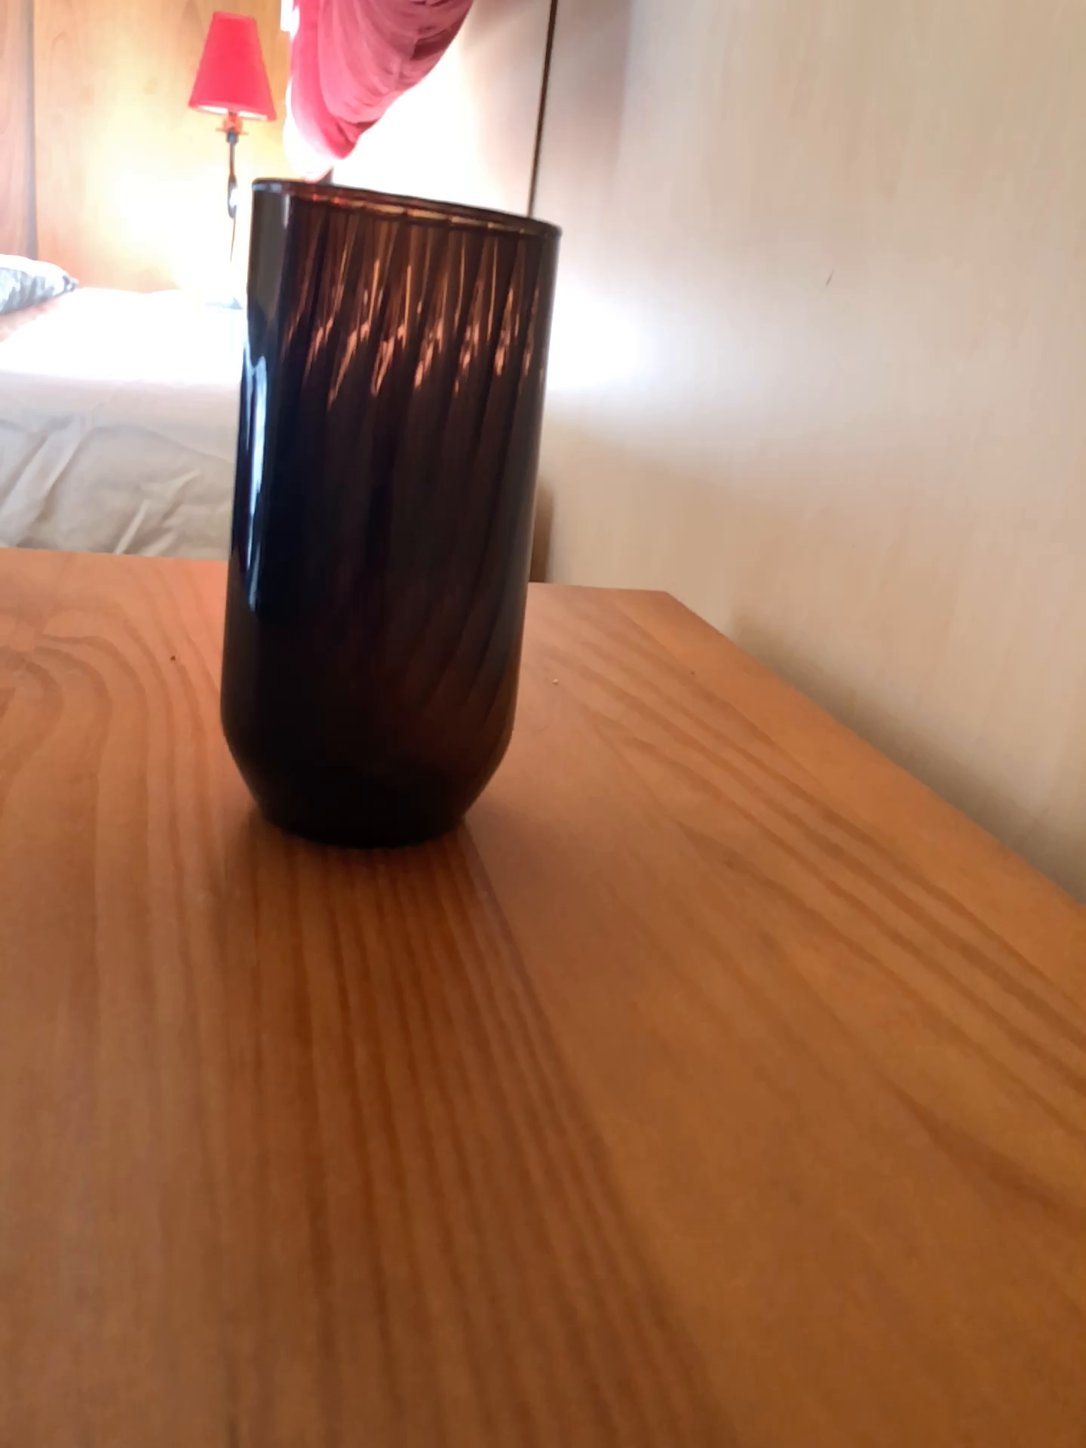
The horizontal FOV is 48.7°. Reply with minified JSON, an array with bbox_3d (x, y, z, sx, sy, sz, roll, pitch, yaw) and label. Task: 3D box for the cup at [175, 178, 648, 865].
[{"bbox_3d":[-0.030,-0.041,0.234,0.061,0.112,0.060,7,19,-2],"label":"cup"}]
